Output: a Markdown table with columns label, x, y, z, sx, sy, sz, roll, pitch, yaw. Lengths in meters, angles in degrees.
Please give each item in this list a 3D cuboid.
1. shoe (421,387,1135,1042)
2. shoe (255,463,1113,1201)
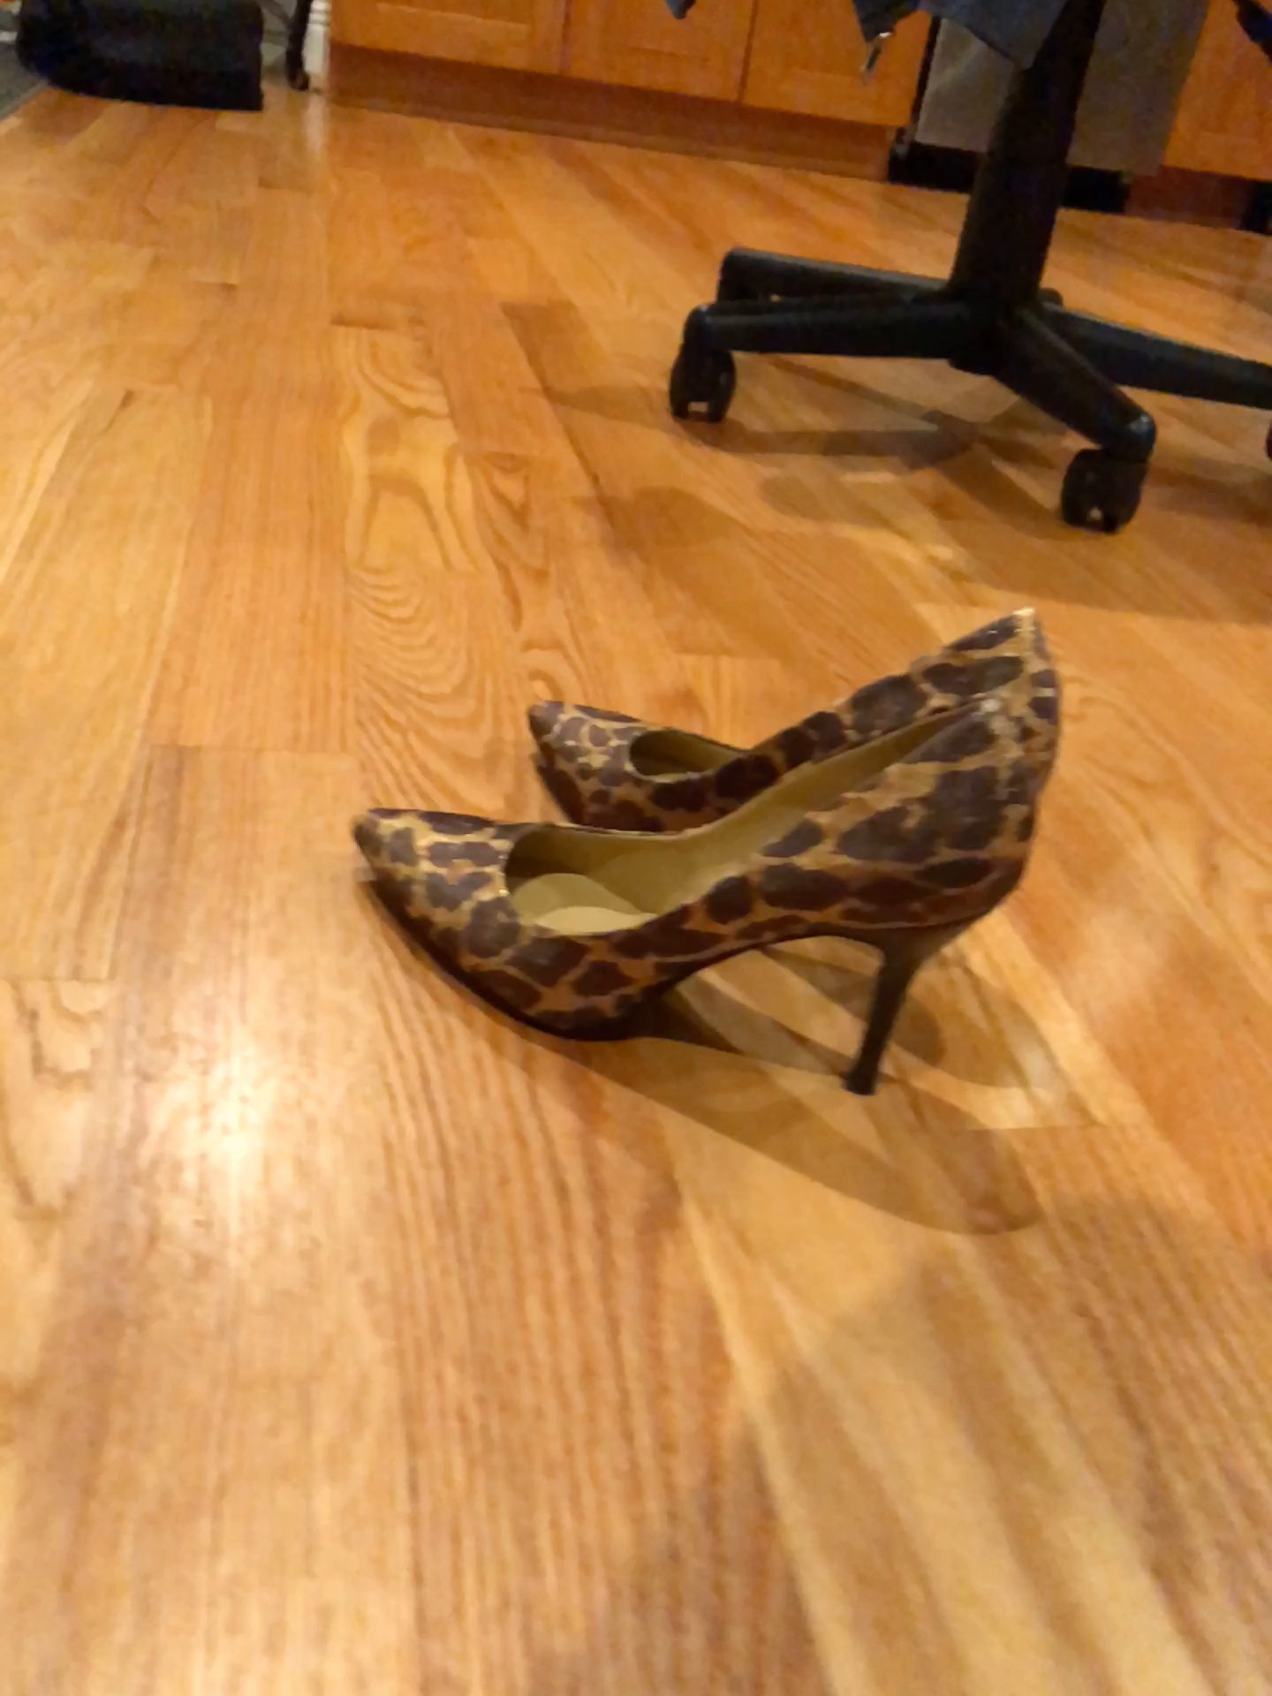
| label | x | y | z | sx | sy | sz | roll | pitch | yaw |
| --- | --- | --- | --- | --- | --- | --- | --- | --- | --- |
| shoe | 0.032 | -0.059 | 0.489 | 0.228 | 0.135 | 0.076 | 31 | 37 | 32 |
| shoe | 0.003 | -0.013 | 0.422 | 0.227 | 0.136 | 0.076 | 20 | 32 | 17 |
